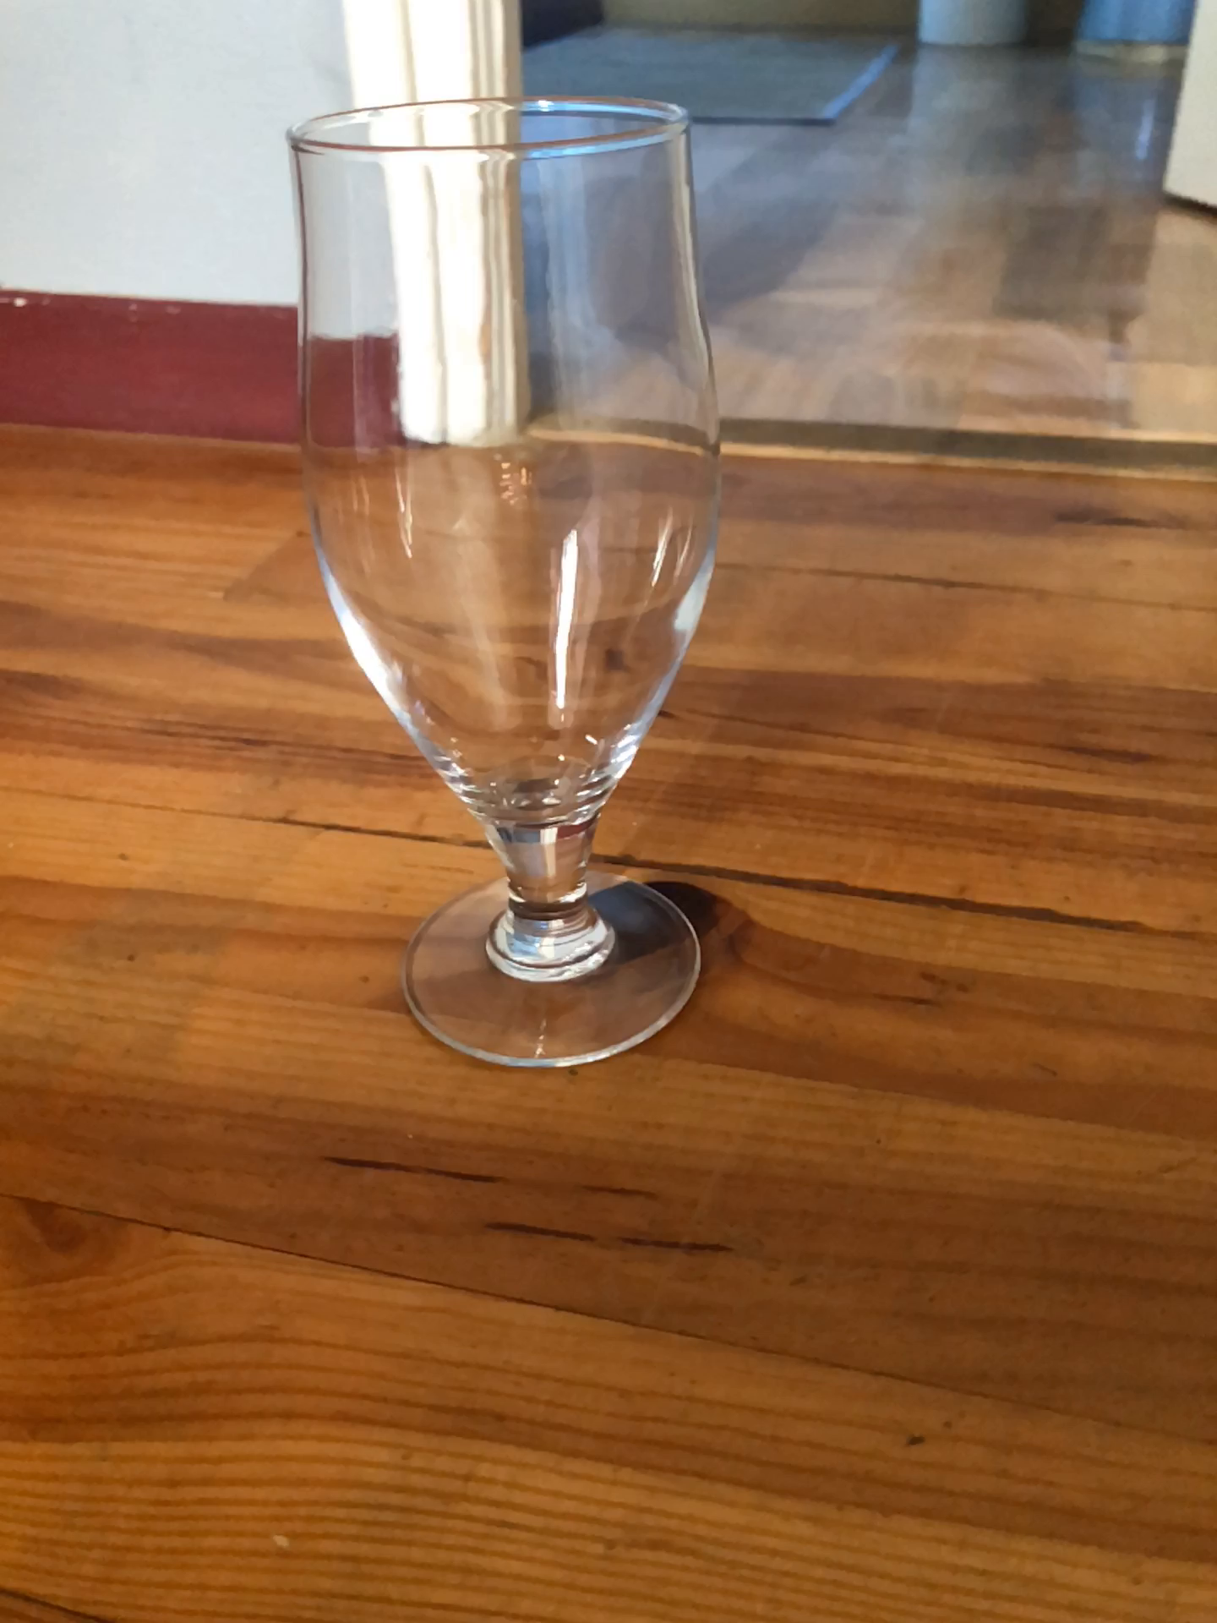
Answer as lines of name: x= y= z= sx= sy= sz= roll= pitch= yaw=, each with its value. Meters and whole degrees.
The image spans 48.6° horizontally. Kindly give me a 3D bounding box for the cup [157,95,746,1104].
cup: x=-0.020 y=-0.040 z=0.280 sx=0.081 sy=0.183 sz=0.084 roll=0 pitch=33 yaw=0
